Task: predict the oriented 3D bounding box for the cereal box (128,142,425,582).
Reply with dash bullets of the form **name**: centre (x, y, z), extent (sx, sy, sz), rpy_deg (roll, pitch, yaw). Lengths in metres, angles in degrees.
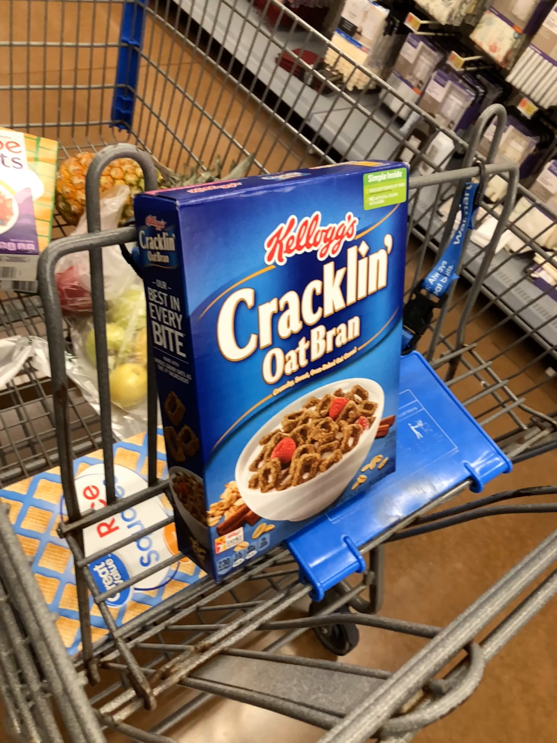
- **cereal box**: centre (0.015, -0.015, 0.435), extent (0.200, 0.260, 0.050), rpy_deg (-22, 30, -35)
